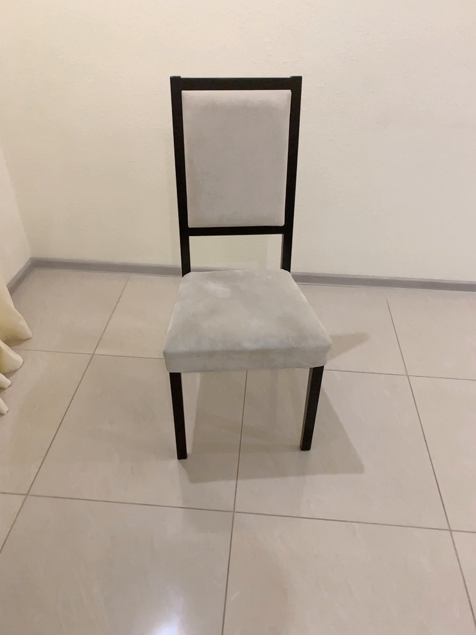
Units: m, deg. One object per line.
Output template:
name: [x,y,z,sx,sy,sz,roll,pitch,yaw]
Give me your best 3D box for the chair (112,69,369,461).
chair: [0.001,-0.123,1.396,0.480,0.964,0.513,-3,37,-2]
